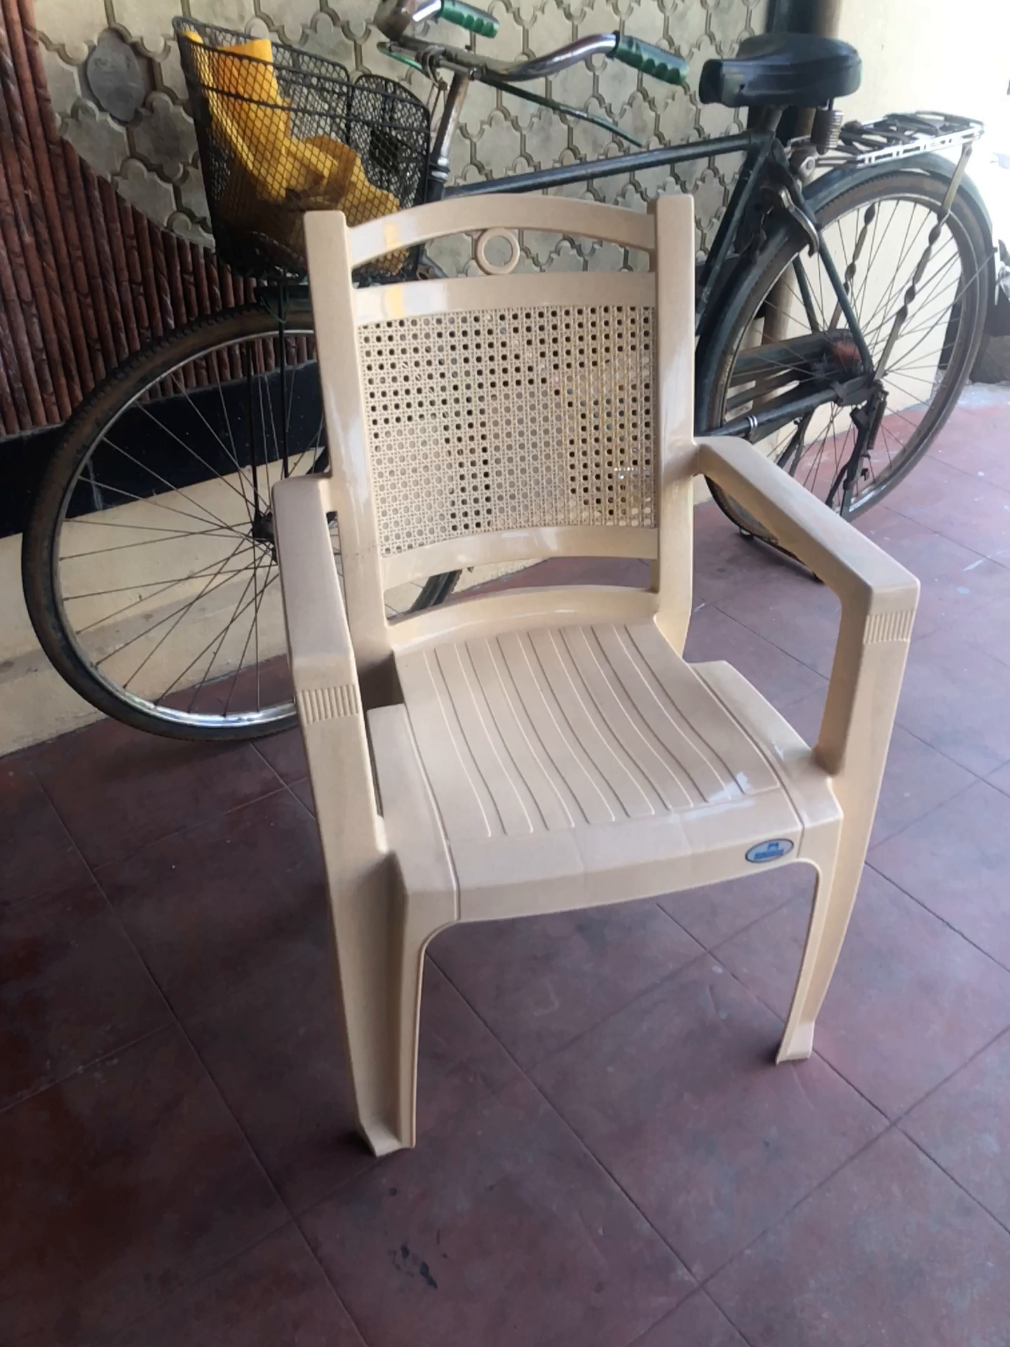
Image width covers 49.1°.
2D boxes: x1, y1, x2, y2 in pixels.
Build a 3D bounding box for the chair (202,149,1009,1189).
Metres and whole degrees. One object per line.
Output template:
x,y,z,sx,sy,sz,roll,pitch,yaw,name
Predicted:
0.063,-0.017,1.133,0.591,0.826,0.552,-8,38,-11,chair
